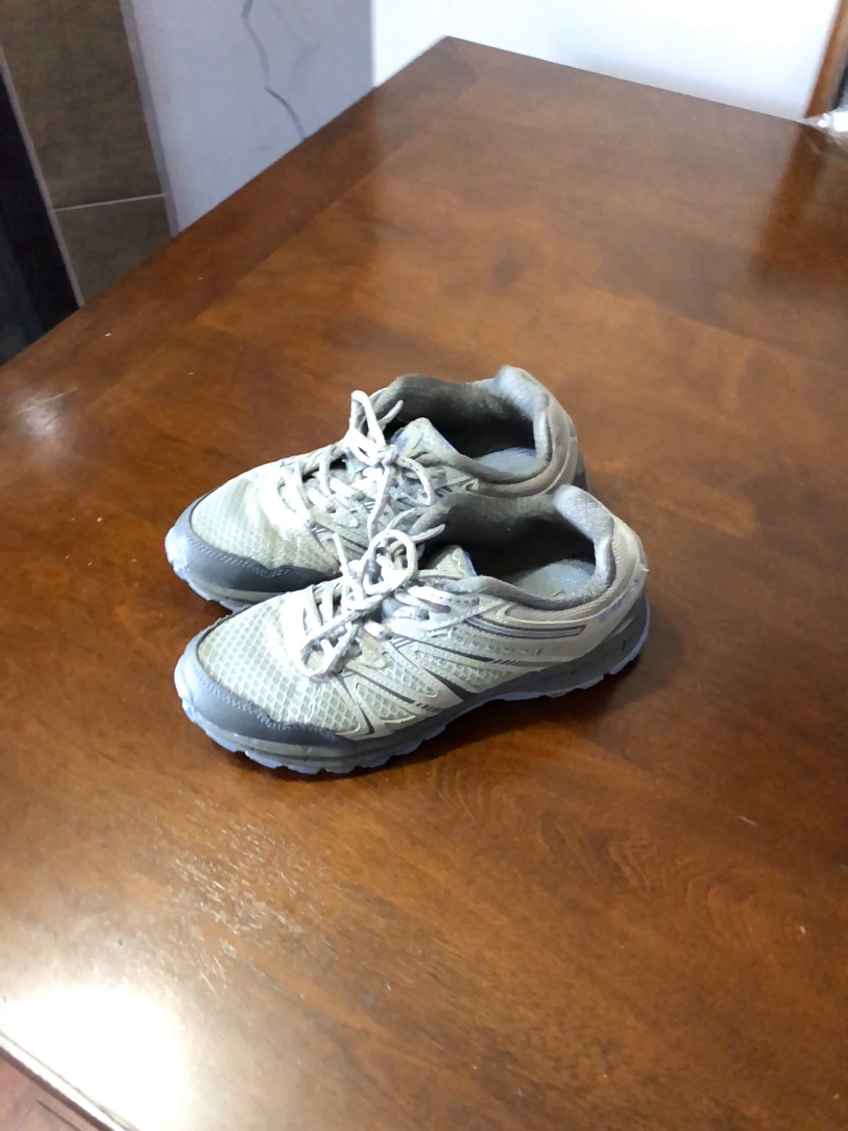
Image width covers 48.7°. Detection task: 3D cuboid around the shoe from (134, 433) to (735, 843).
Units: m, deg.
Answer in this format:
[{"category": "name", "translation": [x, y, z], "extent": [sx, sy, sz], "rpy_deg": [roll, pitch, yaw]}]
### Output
[{"category": "shoe", "translation": [0.002, 0.032, 0.478], "extent": [0.260, 0.100, 0.110], "rpy_deg": [-14, 52, -12]}]

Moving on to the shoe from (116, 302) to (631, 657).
[{"category": "shoe", "translation": [-0.029, -0.053, 0.532], "extent": [0.250, 0.100, 0.110], "rpy_deg": [-15, 52, -13]}]
